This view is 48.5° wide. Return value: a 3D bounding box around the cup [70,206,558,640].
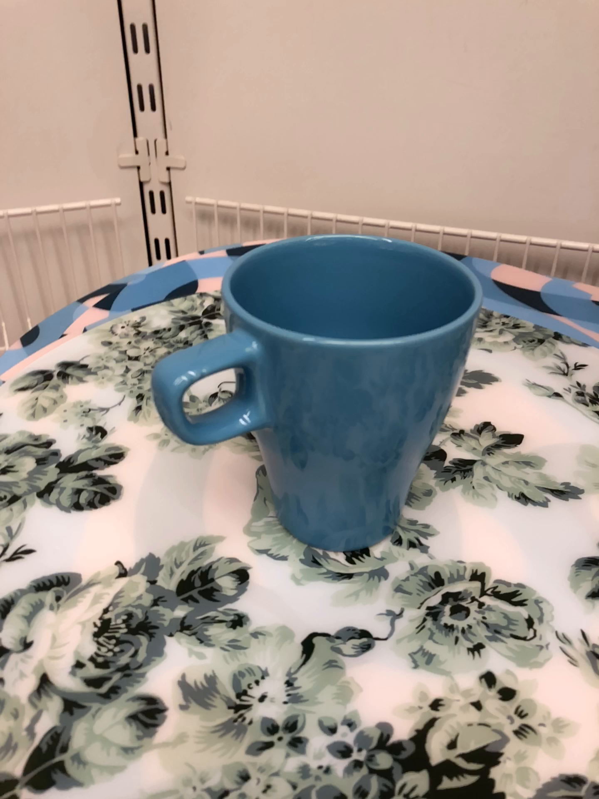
[{"bbox_3d":[0.005,-0.006,0.224,0.120,0.080,0.090,-22,37,-33],"label":"cup"}]
